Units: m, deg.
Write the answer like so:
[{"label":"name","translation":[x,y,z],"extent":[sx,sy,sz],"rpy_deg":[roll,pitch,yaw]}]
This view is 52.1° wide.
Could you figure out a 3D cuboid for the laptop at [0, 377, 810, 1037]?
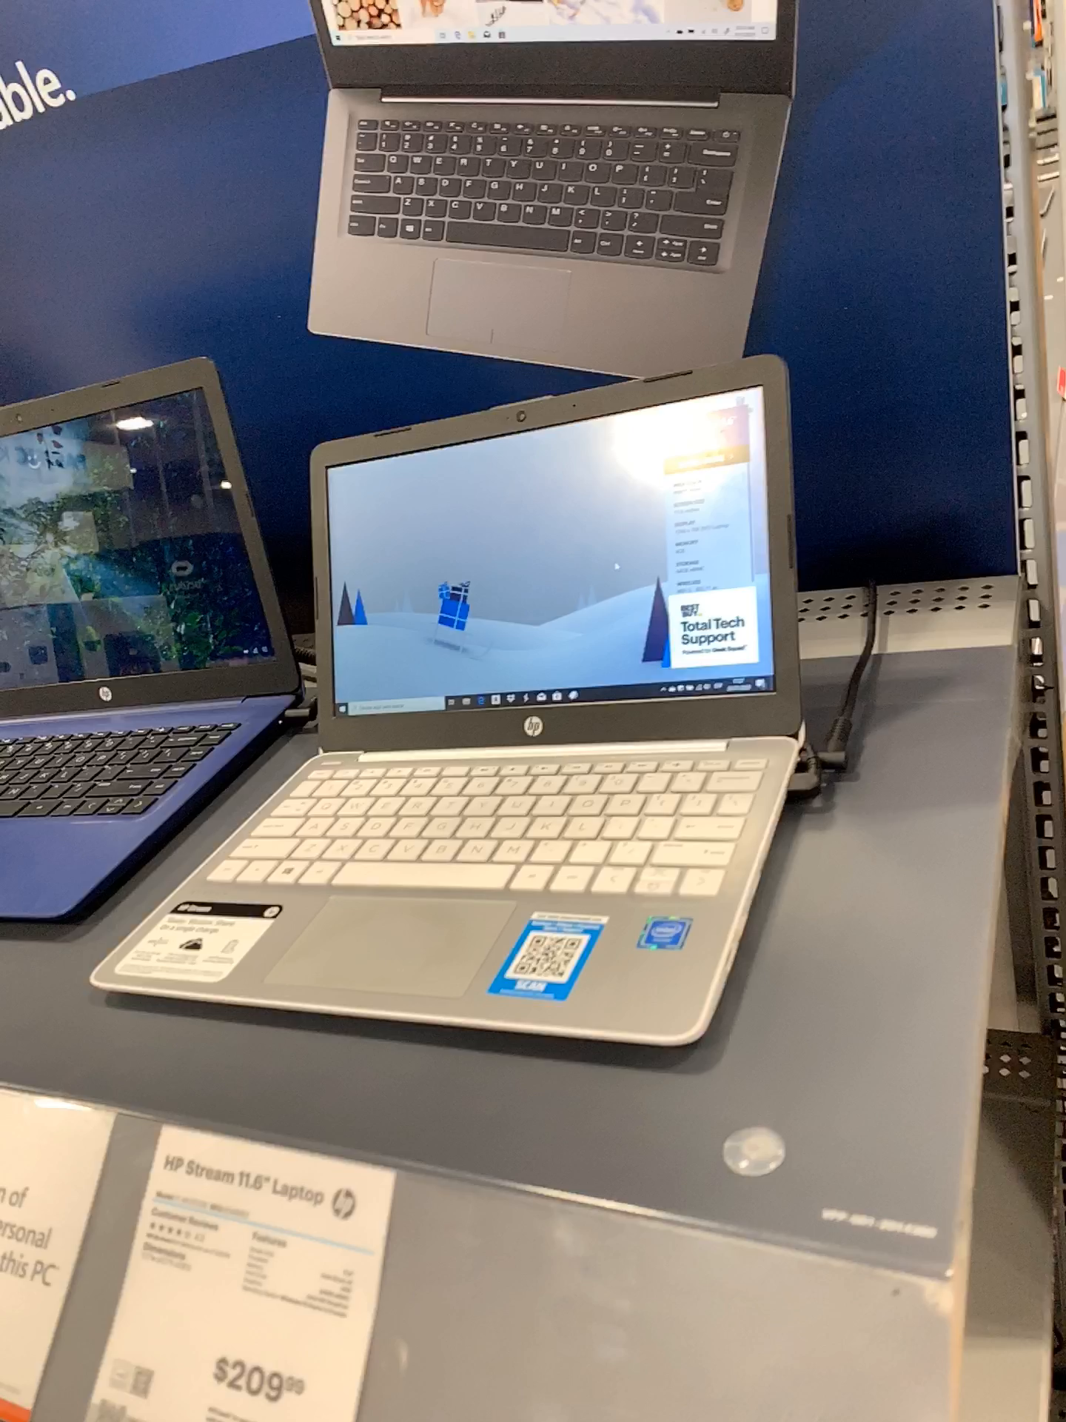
[{"label":"laptop","translation":[-0.042,-0.021,0.492],"extent":[0.266,0.144,0.275],"rpy_deg":[-2,29,25]}]
